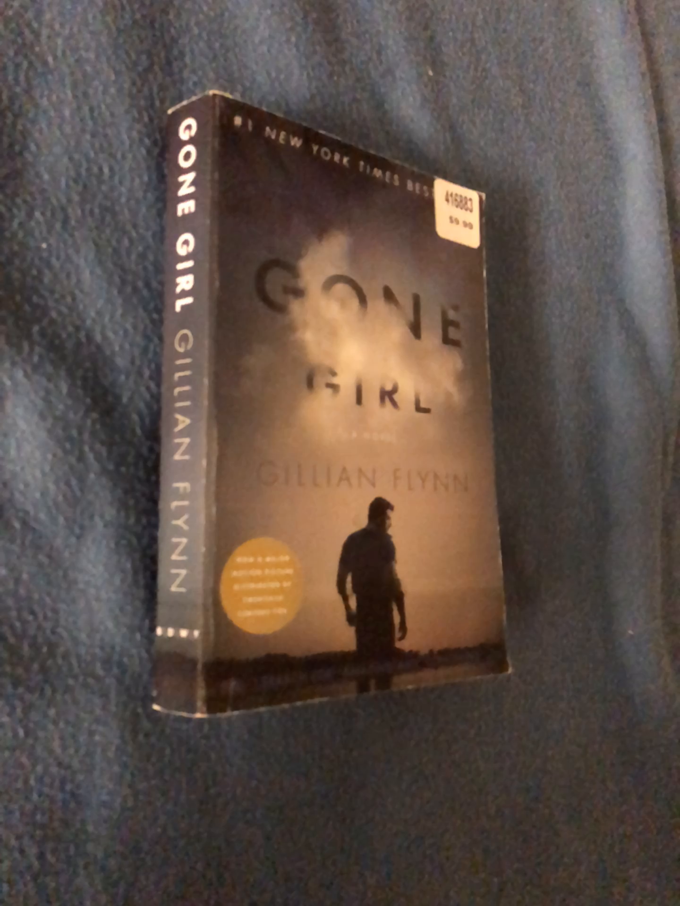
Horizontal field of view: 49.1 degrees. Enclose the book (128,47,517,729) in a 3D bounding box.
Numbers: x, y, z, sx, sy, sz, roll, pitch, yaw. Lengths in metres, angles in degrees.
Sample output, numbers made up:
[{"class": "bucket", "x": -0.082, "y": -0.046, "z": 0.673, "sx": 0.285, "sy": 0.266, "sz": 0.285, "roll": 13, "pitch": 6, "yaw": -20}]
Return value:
[{"class": "book", "x": 0.002, "y": -0.017, "z": 0.273, "sx": 0.140, "sy": 0.040, "sz": 0.200, "roll": 5, "pitch": 83, "yaw": -37}]
